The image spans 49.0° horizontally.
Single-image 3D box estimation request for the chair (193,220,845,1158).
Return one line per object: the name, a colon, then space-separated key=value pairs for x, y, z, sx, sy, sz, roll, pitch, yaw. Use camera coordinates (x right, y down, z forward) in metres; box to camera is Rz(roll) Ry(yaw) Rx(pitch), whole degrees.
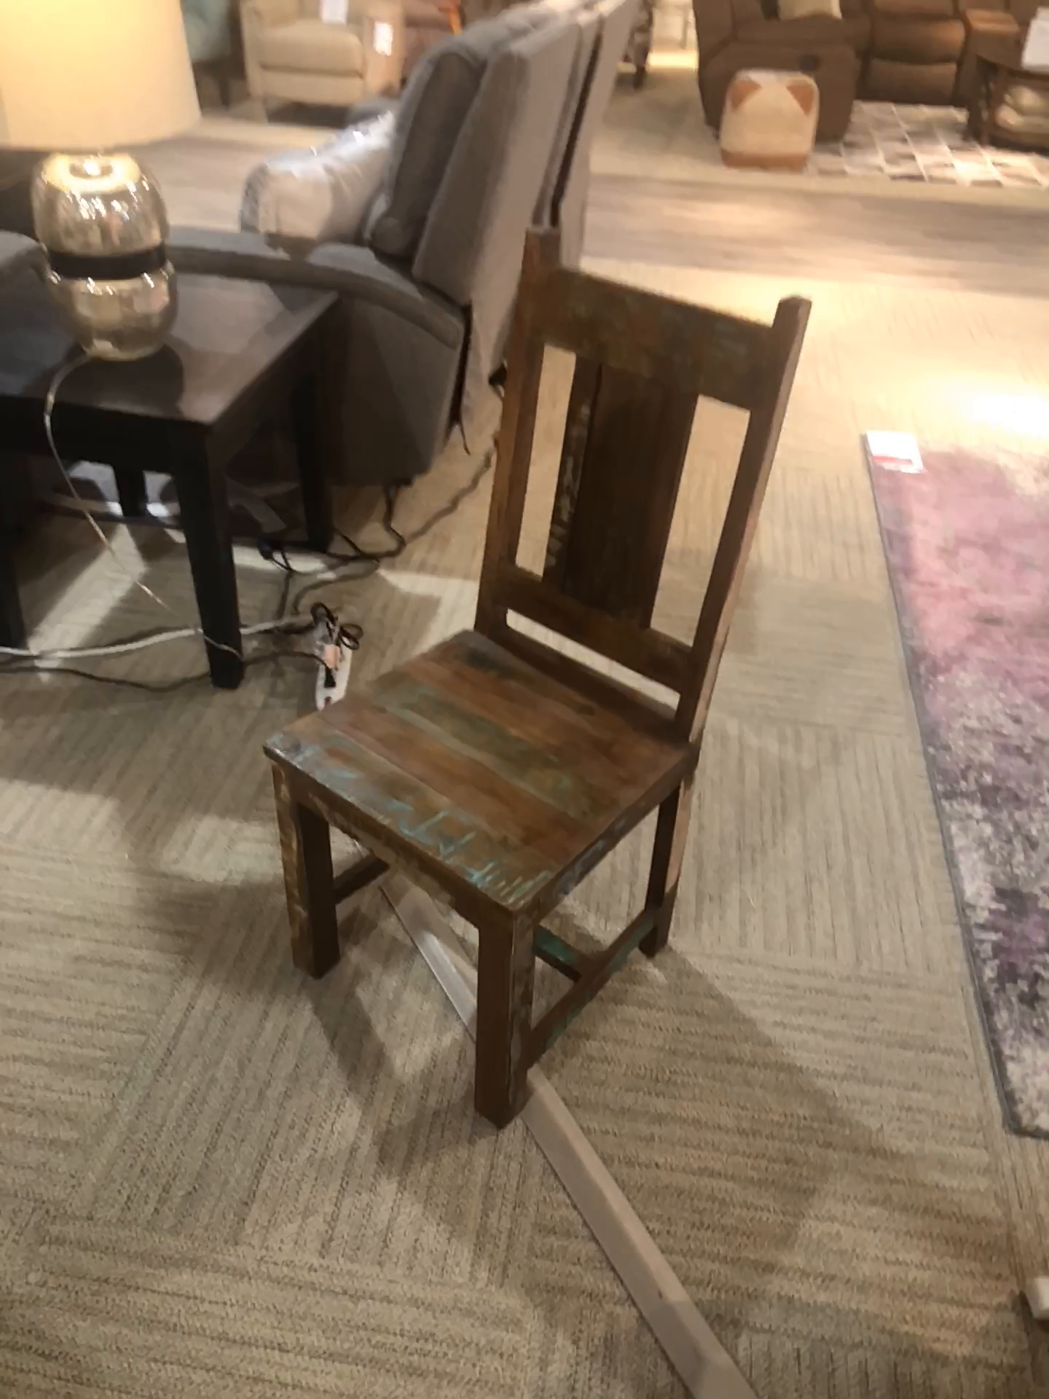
chair: x=-0.015 y=-0.006 z=1.523 sx=0.476 sy=1.024 sz=0.512 roll=28 pitch=43 yaw=30
